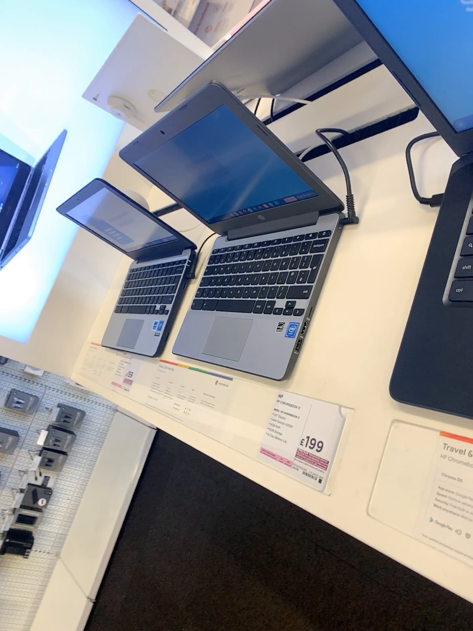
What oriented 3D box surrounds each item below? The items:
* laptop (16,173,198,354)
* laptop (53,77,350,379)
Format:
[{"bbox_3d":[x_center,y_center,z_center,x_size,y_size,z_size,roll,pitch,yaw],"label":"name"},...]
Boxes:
[{"bbox_3d":[-0.245,-0.079,0.878,0.288,0.180,0.221,1,69,58],"label":"laptop"},{"bbox_3d":[-0.059,-0.081,0.588,0.279,0.185,0.228,3,70,59],"label":"laptop"}]
